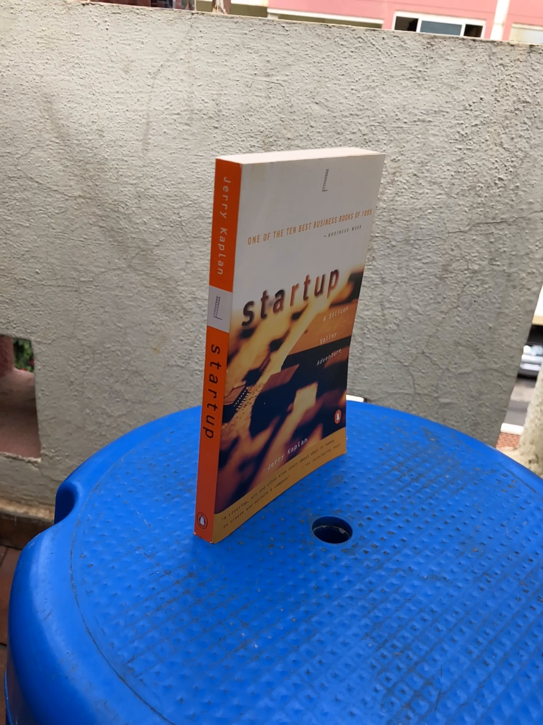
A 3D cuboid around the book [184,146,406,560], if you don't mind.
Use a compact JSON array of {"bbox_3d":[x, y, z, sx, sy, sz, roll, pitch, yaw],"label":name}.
[{"bbox_3d":[0.014,-0.012,0.337,0.030,0.199,0.141,21,28,29],"label":"book"}]
